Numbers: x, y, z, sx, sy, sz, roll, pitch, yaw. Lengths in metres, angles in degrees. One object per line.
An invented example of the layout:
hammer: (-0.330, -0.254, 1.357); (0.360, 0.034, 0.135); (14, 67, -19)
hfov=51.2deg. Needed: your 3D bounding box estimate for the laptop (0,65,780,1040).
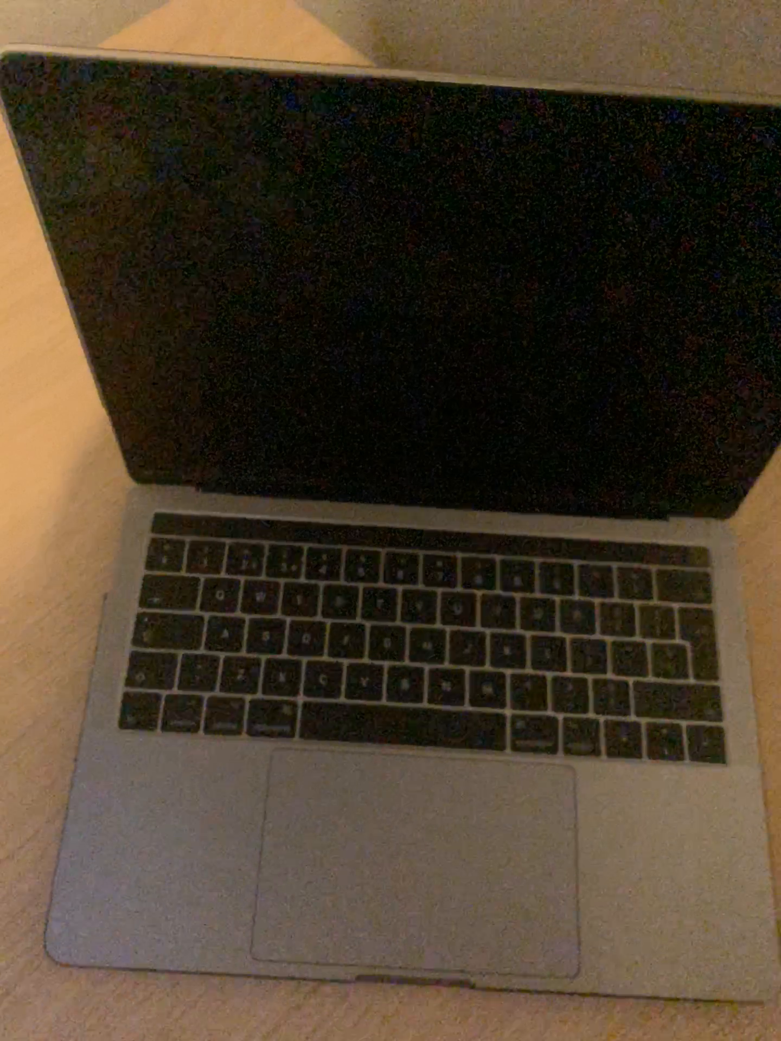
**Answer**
laptop: (0.020, 0.030, 0.286); (0.294, 0.198, 0.257); (4, 68, 0)
